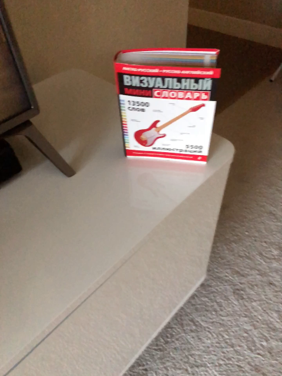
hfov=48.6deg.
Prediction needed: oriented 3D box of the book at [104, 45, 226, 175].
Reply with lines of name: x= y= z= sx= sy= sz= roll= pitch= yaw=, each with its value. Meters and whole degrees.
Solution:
book: x=0.036 y=-0.110 z=0.470 sx=0.150 sy=0.179 sz=0.060 roll=4 pitch=47 yaw=7
